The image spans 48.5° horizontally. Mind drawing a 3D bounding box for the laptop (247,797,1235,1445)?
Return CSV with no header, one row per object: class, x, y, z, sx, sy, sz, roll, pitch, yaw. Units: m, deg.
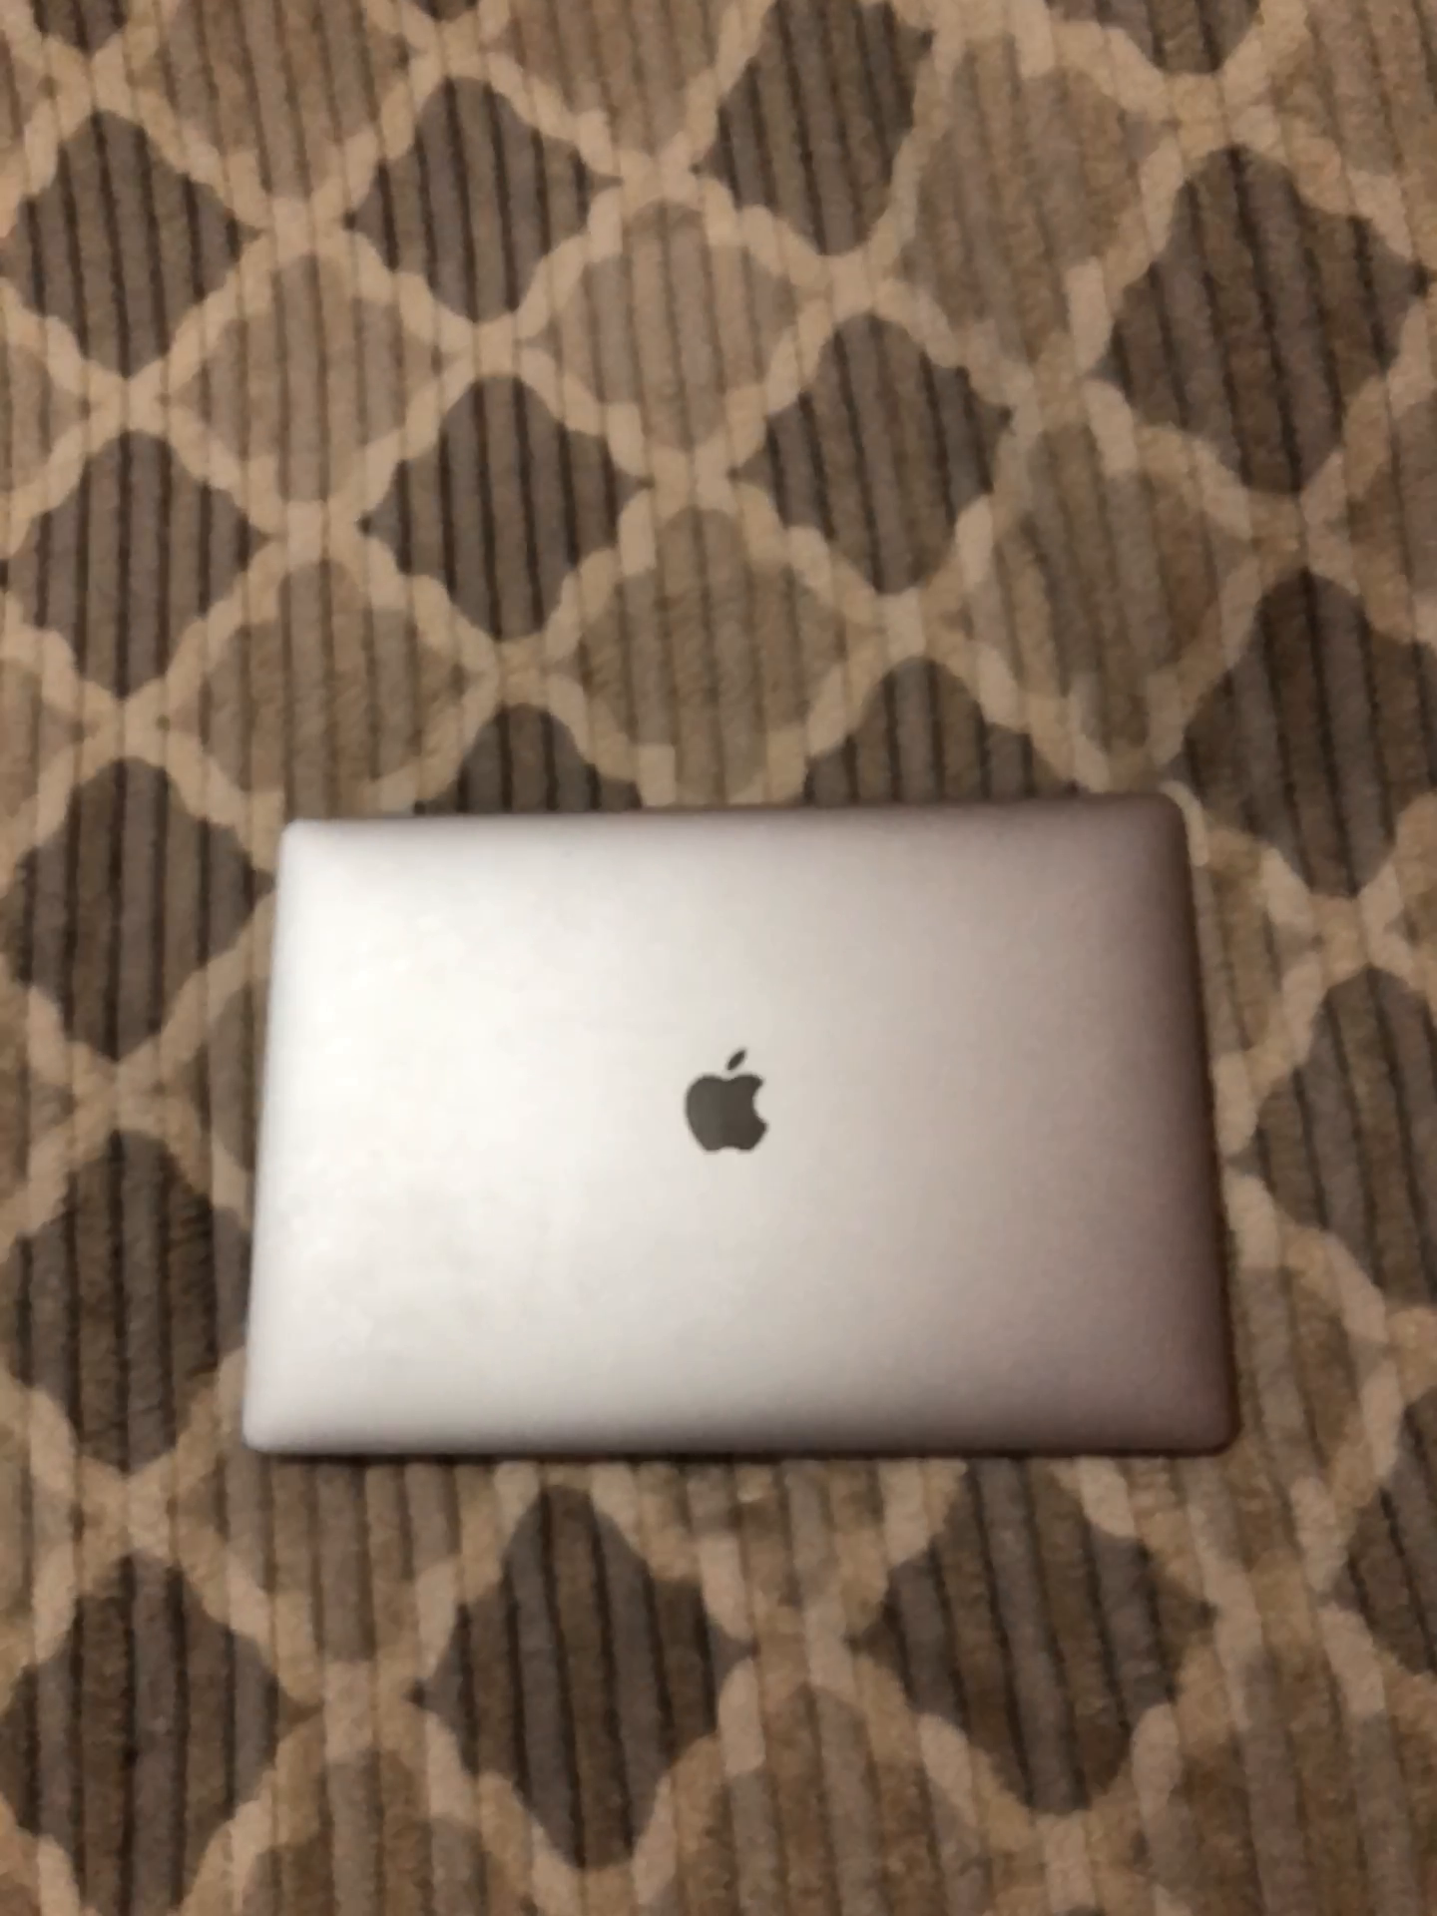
laptop,0.003,0.057,0.613,0.358,0.007,0.246,-1,75,3
